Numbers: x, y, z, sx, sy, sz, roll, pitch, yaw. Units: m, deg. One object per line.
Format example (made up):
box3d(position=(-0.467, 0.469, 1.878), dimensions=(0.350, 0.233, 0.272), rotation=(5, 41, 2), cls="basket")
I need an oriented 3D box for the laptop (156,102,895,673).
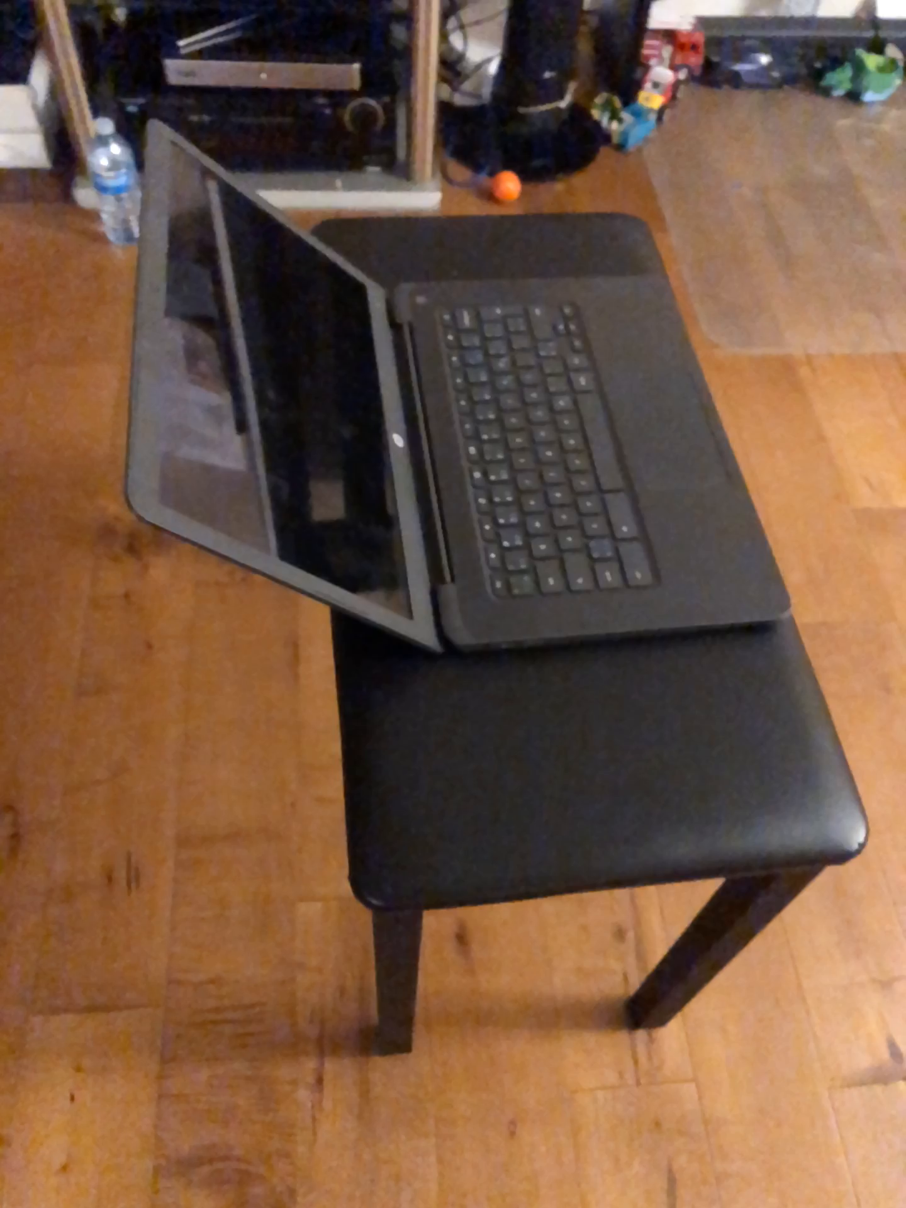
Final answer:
box3d(position=(0.015, -0.149, 0.627), dimensions=(0.362, 0.144, 0.318), rotation=(-6, 56, -6), cls="laptop")
